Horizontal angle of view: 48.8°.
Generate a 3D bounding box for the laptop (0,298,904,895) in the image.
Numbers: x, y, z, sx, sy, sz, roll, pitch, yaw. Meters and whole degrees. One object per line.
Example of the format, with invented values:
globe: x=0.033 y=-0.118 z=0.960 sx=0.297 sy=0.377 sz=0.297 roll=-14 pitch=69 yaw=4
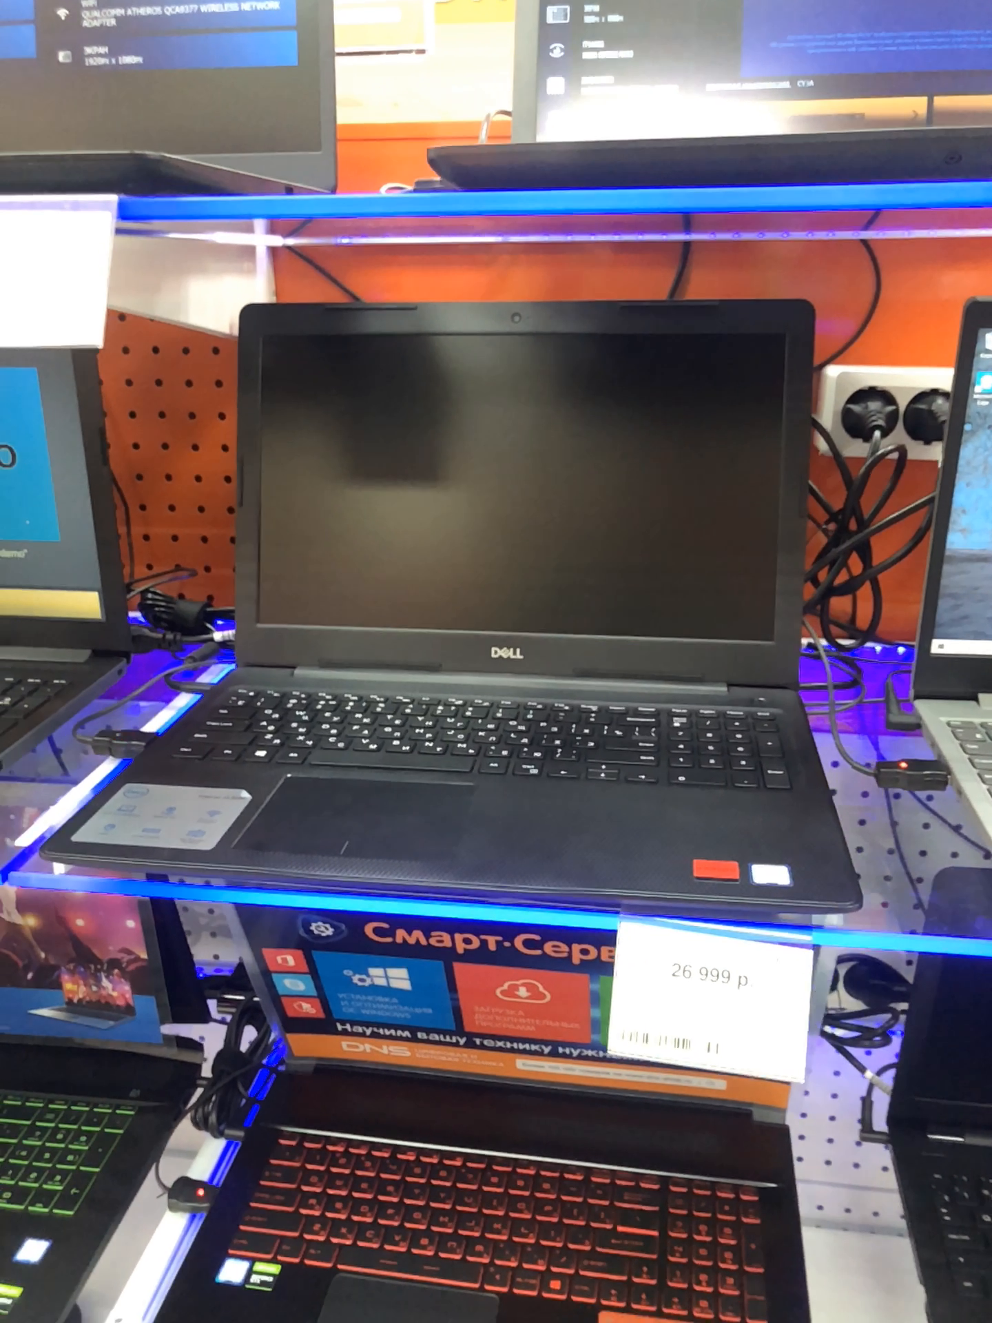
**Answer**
laptop: x=-0.019 y=-0.071 z=0.597 sx=0.373 sy=0.233 sz=0.317 roll=2 pitch=19 yaw=7
